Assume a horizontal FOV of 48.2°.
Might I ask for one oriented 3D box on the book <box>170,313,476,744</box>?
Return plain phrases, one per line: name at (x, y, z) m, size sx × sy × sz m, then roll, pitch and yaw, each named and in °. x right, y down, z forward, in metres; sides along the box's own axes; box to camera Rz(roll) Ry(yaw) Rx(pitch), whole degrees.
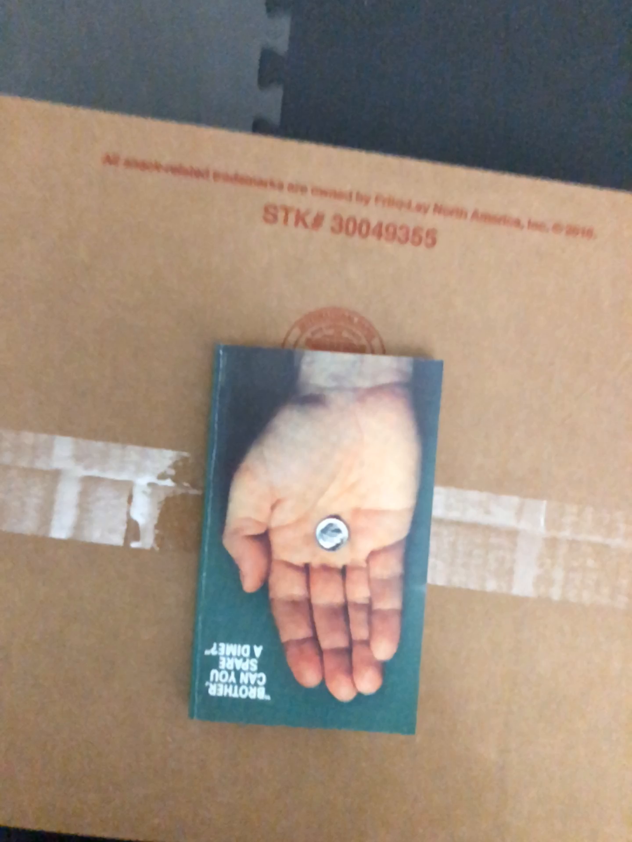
book at (0.003, 0.048, 0.316) m, size 0.120 × 0.020 × 0.180 m, roll 4°, pitch 91°, yaw -3°
